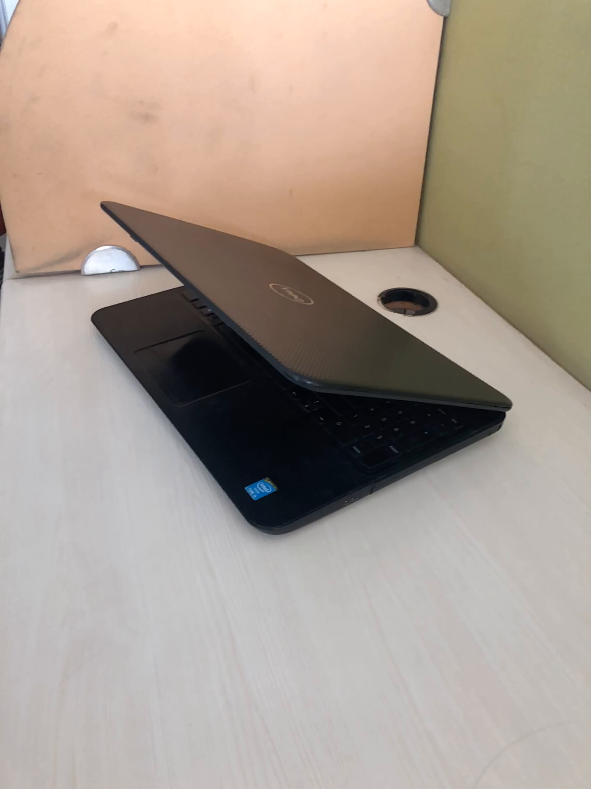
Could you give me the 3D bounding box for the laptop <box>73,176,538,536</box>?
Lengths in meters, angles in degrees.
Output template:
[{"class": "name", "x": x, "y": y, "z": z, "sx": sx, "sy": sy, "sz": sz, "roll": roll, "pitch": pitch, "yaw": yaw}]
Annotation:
[{"class": "laptop", "x": -0.018, "y": -0.077, "z": 0.601, "sx": 0.247, "sy": 0.106, "sz": 0.368, "roll": -20, "pitch": 41, "yaw": -26}]
